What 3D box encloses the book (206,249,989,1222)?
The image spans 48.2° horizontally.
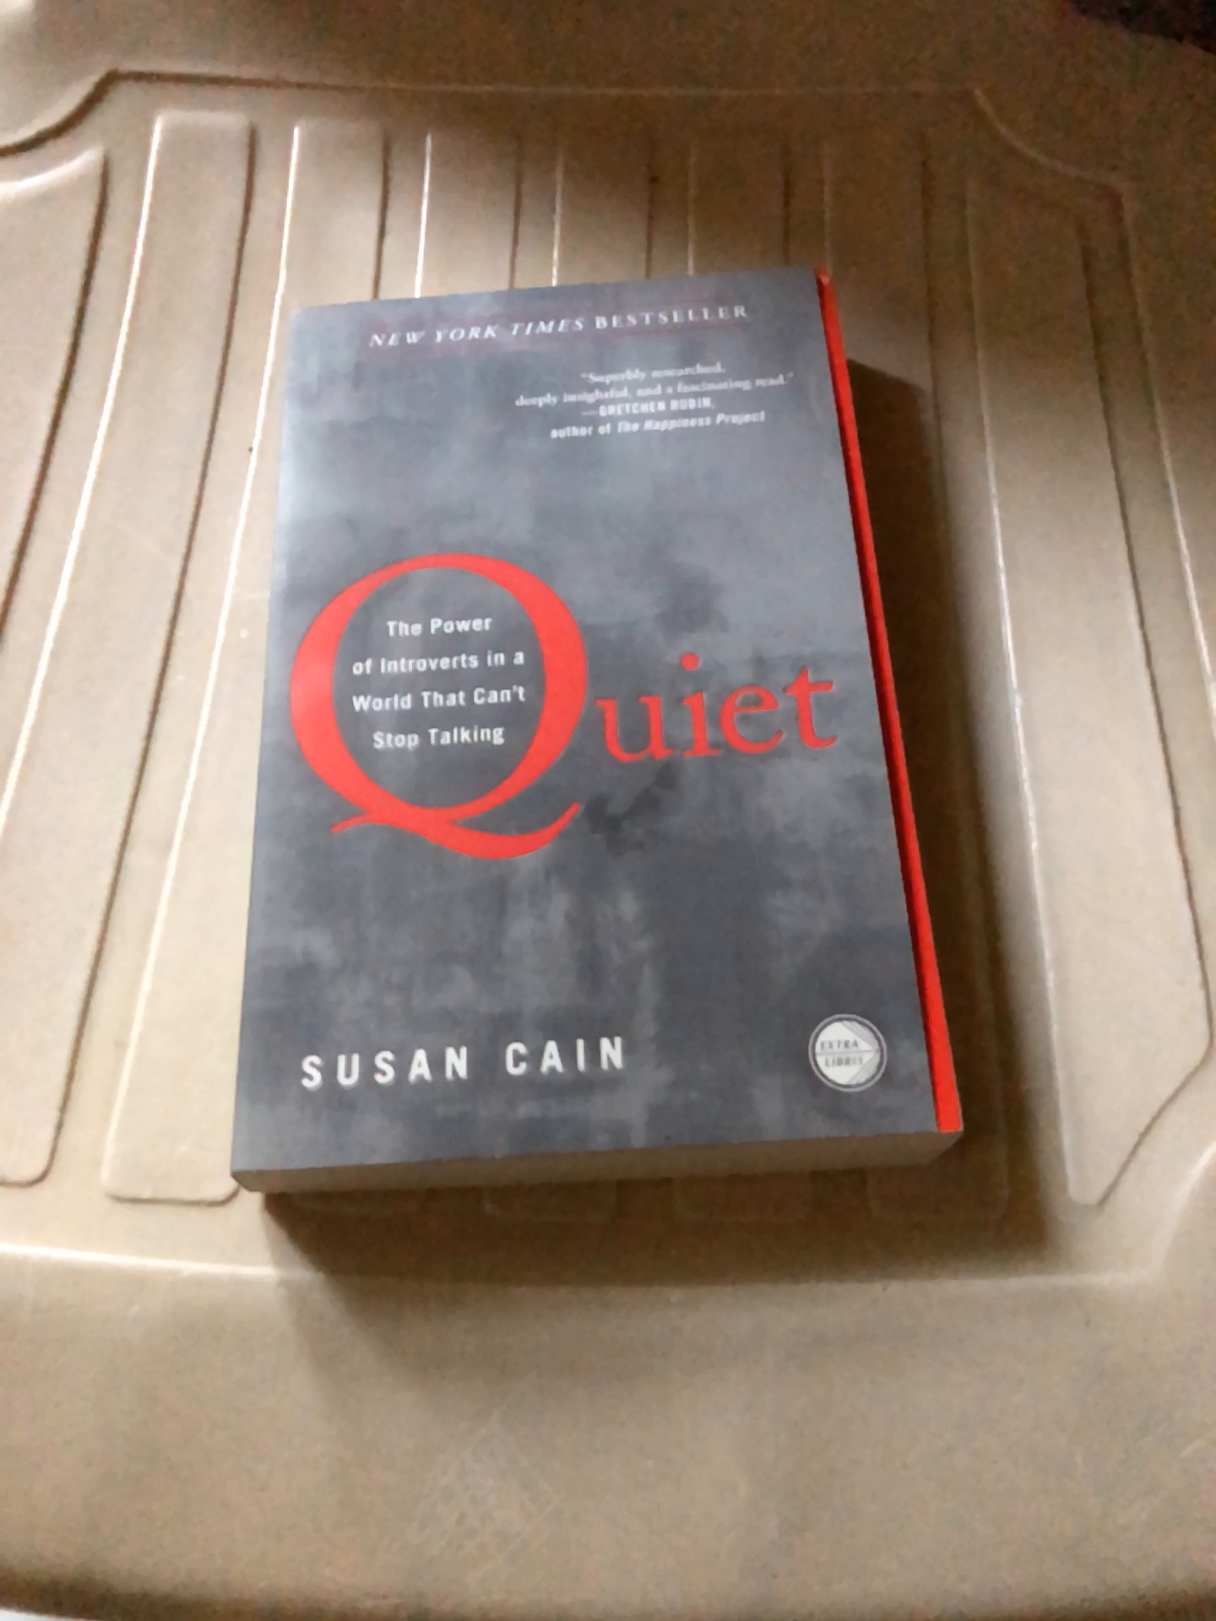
[{"bbox_3d":[-0.006,-0.024,0.279,0.130,0.030,0.200,-3,67,0],"label":"book"}]
